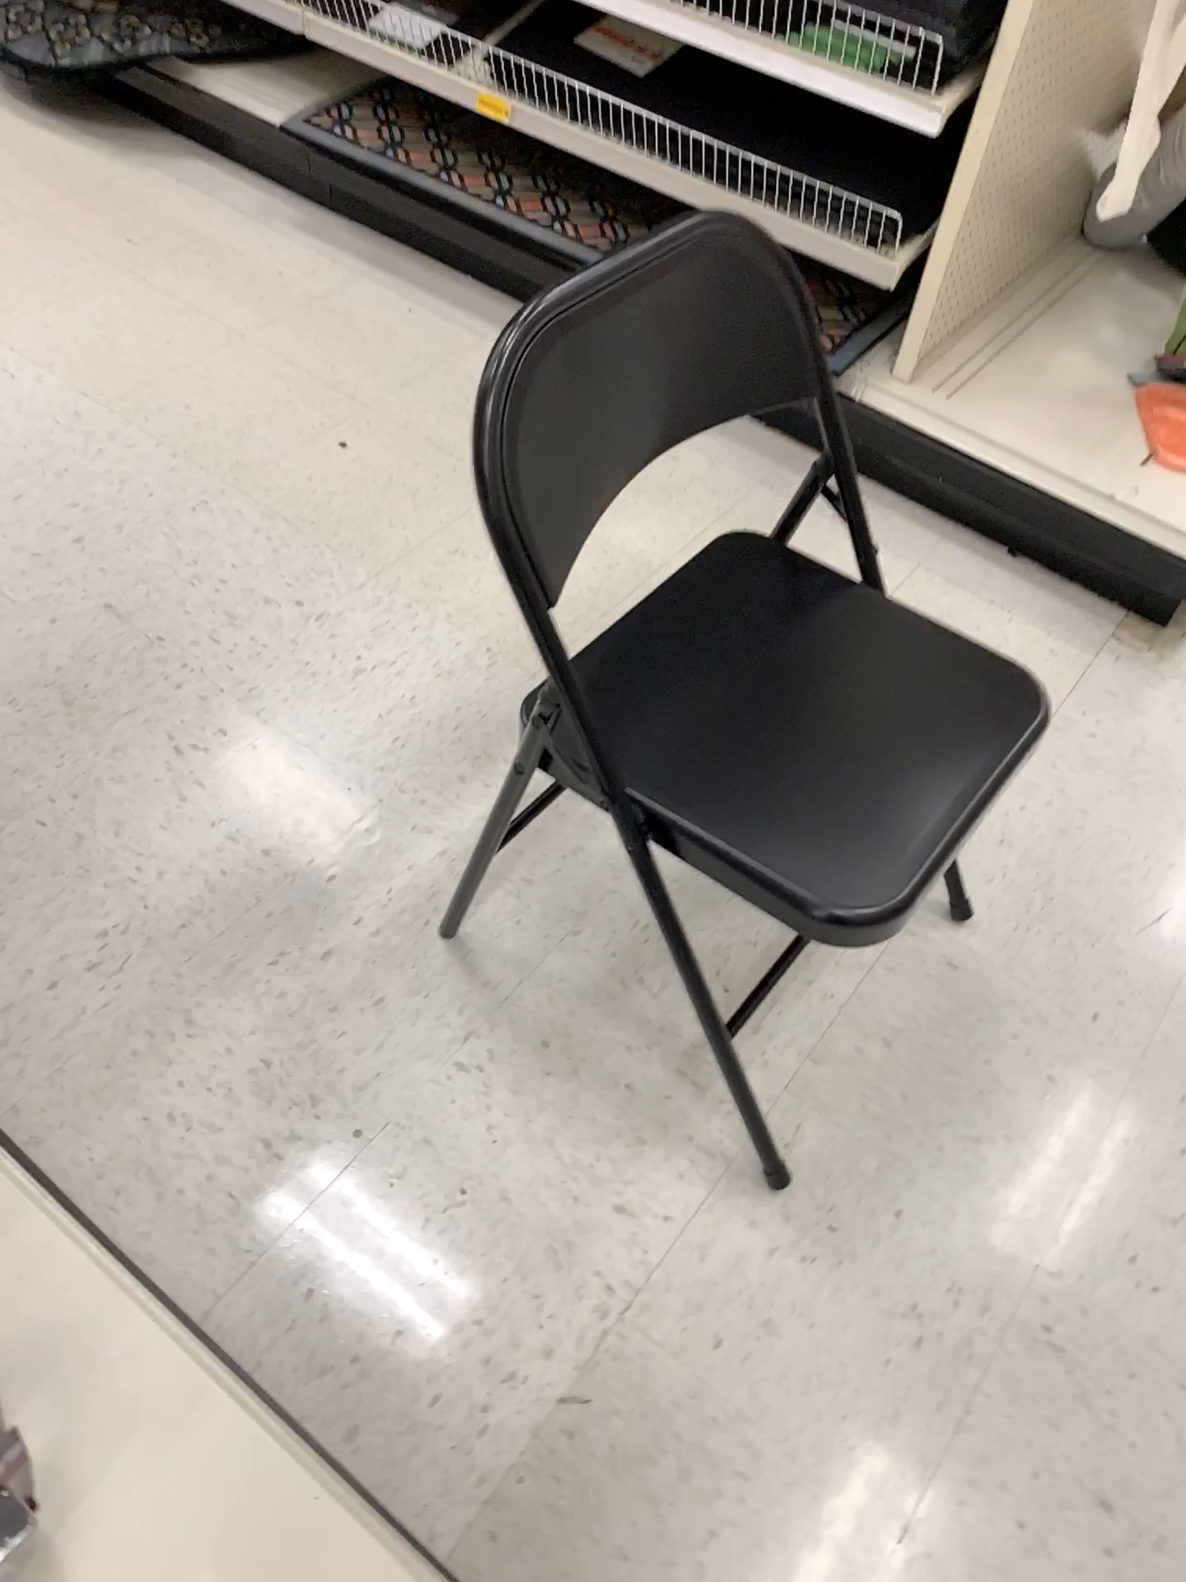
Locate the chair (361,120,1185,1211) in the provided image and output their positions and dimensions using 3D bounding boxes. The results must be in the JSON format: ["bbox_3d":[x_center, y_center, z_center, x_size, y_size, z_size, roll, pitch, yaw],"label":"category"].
[{"bbox_3d":[0.174,-0.097,1.137,0.551,0.717,0.492,33,54,19],"label":"chair"}]
